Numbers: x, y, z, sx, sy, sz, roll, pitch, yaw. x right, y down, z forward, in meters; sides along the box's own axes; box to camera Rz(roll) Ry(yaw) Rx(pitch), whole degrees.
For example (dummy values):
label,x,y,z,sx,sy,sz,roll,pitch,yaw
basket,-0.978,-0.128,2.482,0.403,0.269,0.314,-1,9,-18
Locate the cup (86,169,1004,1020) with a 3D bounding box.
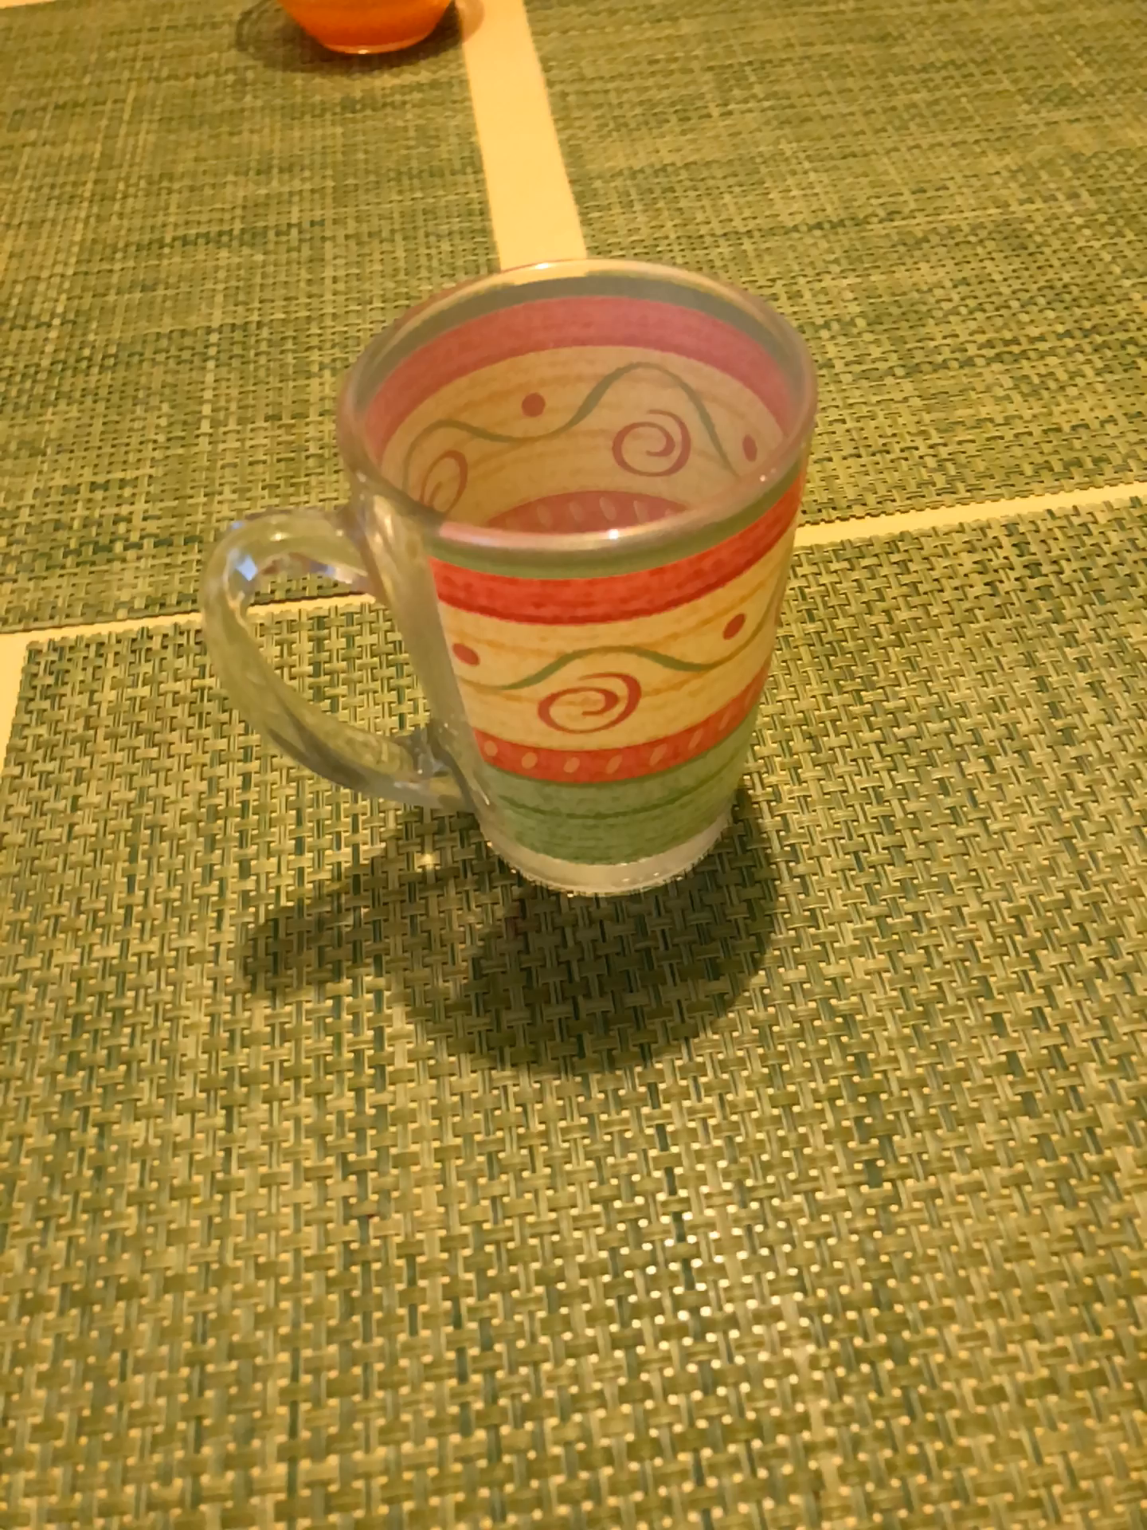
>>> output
label,x,y,z,sx,sy,sz,roll,pitch,yaw
cup,-0.008,-0.033,0.231,0.120,0.089,0.090,-17,52,-11
